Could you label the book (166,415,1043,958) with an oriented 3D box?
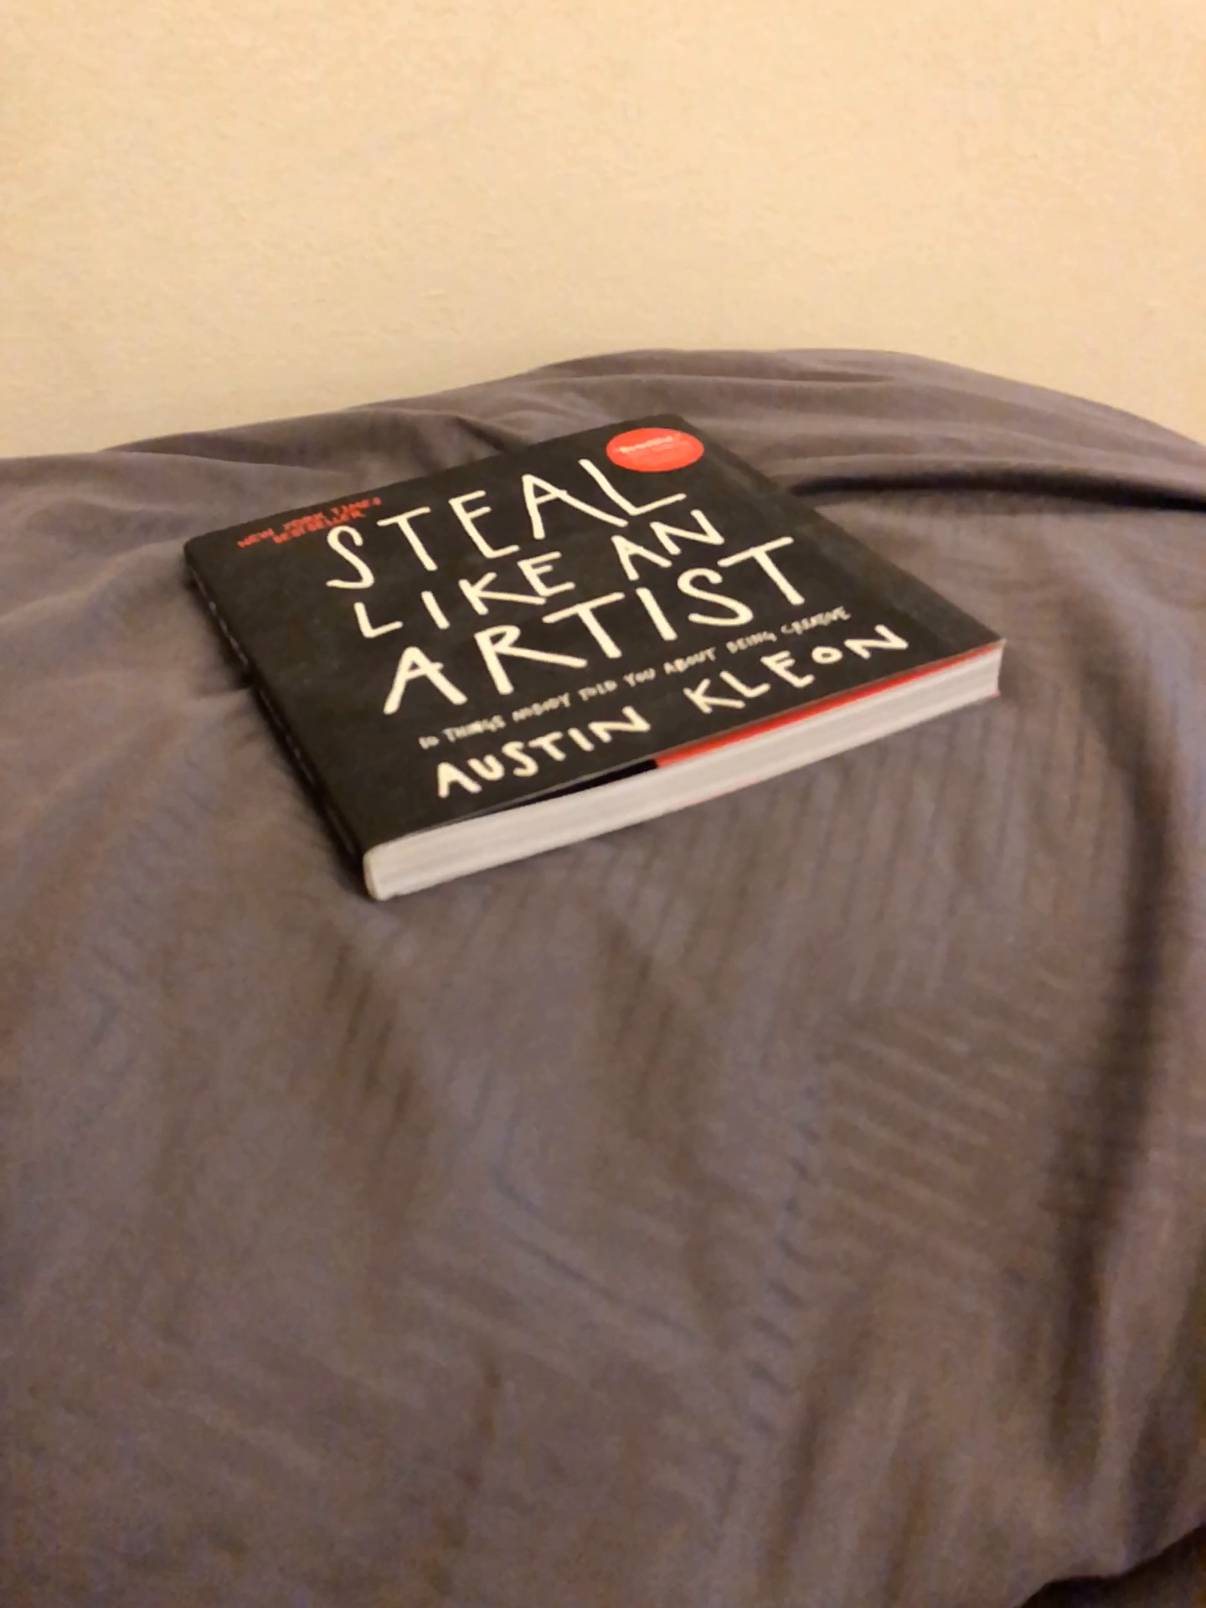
[{"bbox_3d":[-0.009,-0.045,0.331,0.160,0.020,0.161,-18,41,-20],"label":"book"}]
